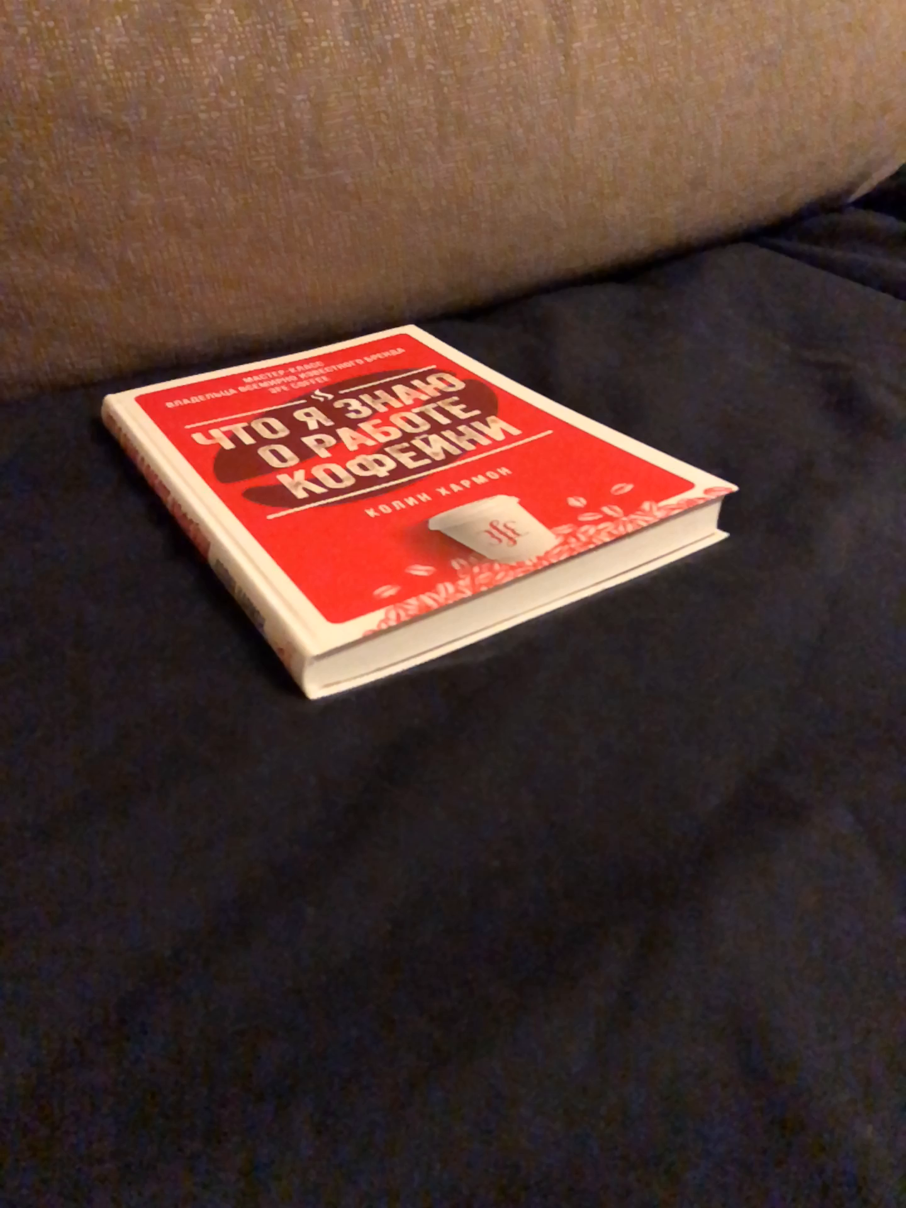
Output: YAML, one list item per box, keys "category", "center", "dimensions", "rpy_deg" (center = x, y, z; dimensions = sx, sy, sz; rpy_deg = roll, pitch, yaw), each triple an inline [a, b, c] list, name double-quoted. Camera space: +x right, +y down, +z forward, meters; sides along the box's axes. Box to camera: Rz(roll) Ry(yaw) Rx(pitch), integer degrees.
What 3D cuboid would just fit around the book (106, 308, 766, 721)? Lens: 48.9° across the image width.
- category: "book"
  center: [-0.023, -0.055, 0.369]
  dimensions: [0.153, 0.020, 0.223]
  rpy_deg: [-21, 38, -22]
